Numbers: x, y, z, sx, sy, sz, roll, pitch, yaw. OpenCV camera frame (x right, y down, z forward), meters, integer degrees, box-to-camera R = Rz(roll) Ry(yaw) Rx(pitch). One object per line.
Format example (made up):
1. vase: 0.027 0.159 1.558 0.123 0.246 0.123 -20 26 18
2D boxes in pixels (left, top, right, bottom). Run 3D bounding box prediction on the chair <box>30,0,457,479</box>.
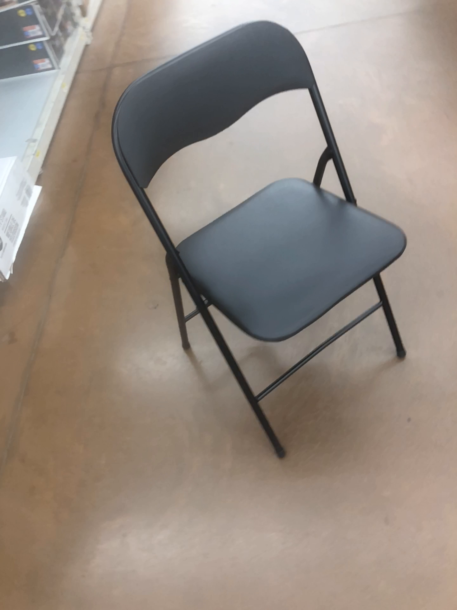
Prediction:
1. chair: 0.085 -0.128 1.055 0.520 0.758 0.491 -35 51 -15
